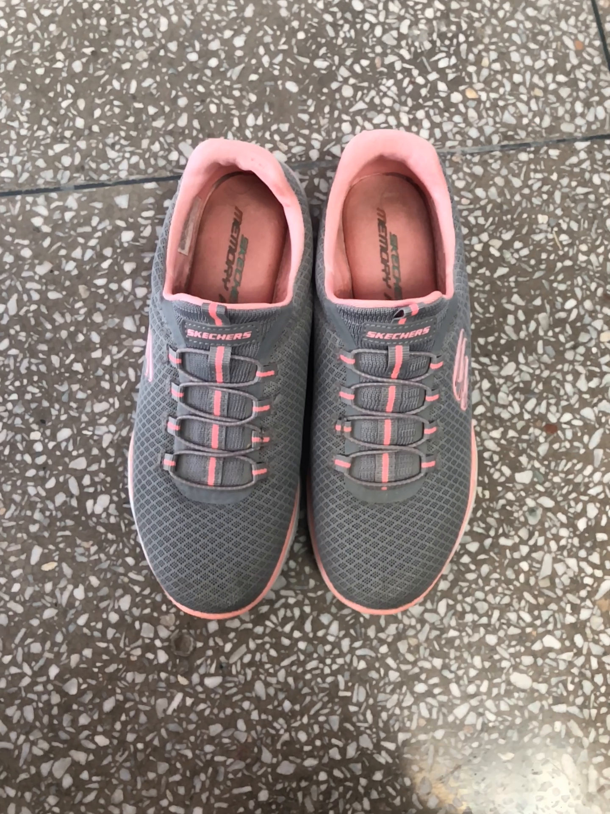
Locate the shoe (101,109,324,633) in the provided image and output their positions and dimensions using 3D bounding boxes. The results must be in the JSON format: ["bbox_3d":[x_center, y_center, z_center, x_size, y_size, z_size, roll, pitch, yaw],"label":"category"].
[{"bbox_3d":[-0.041,-0.016,0.362,0.090,0.100,0.240,2,84,-1],"label":"shoe"}]

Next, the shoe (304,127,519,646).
[{"bbox_3d":[0.050,-0.008,0.353,0.090,0.100,0.230,2,84,-1],"label":"shoe"}]
